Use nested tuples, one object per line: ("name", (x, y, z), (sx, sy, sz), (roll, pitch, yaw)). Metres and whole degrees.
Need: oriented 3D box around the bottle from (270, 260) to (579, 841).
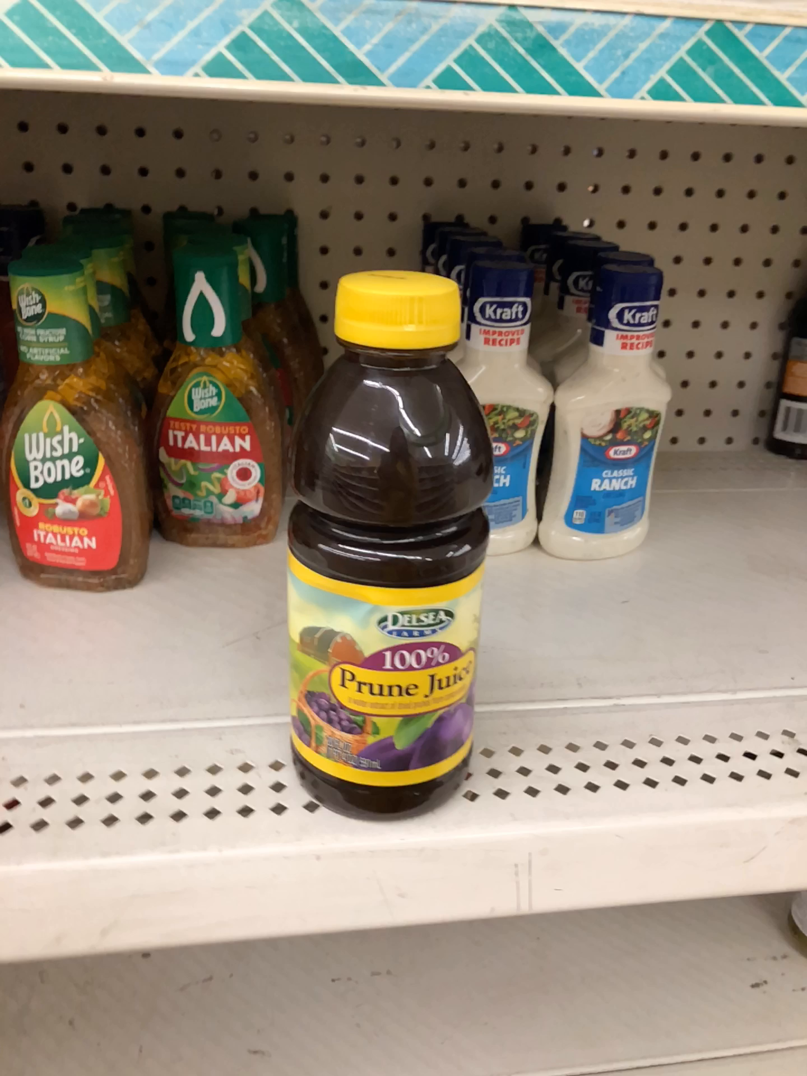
("bottle", (-0.002, 0.004, 0.312), (0.080, 0.181, 0.080), (2, 26, -1))
